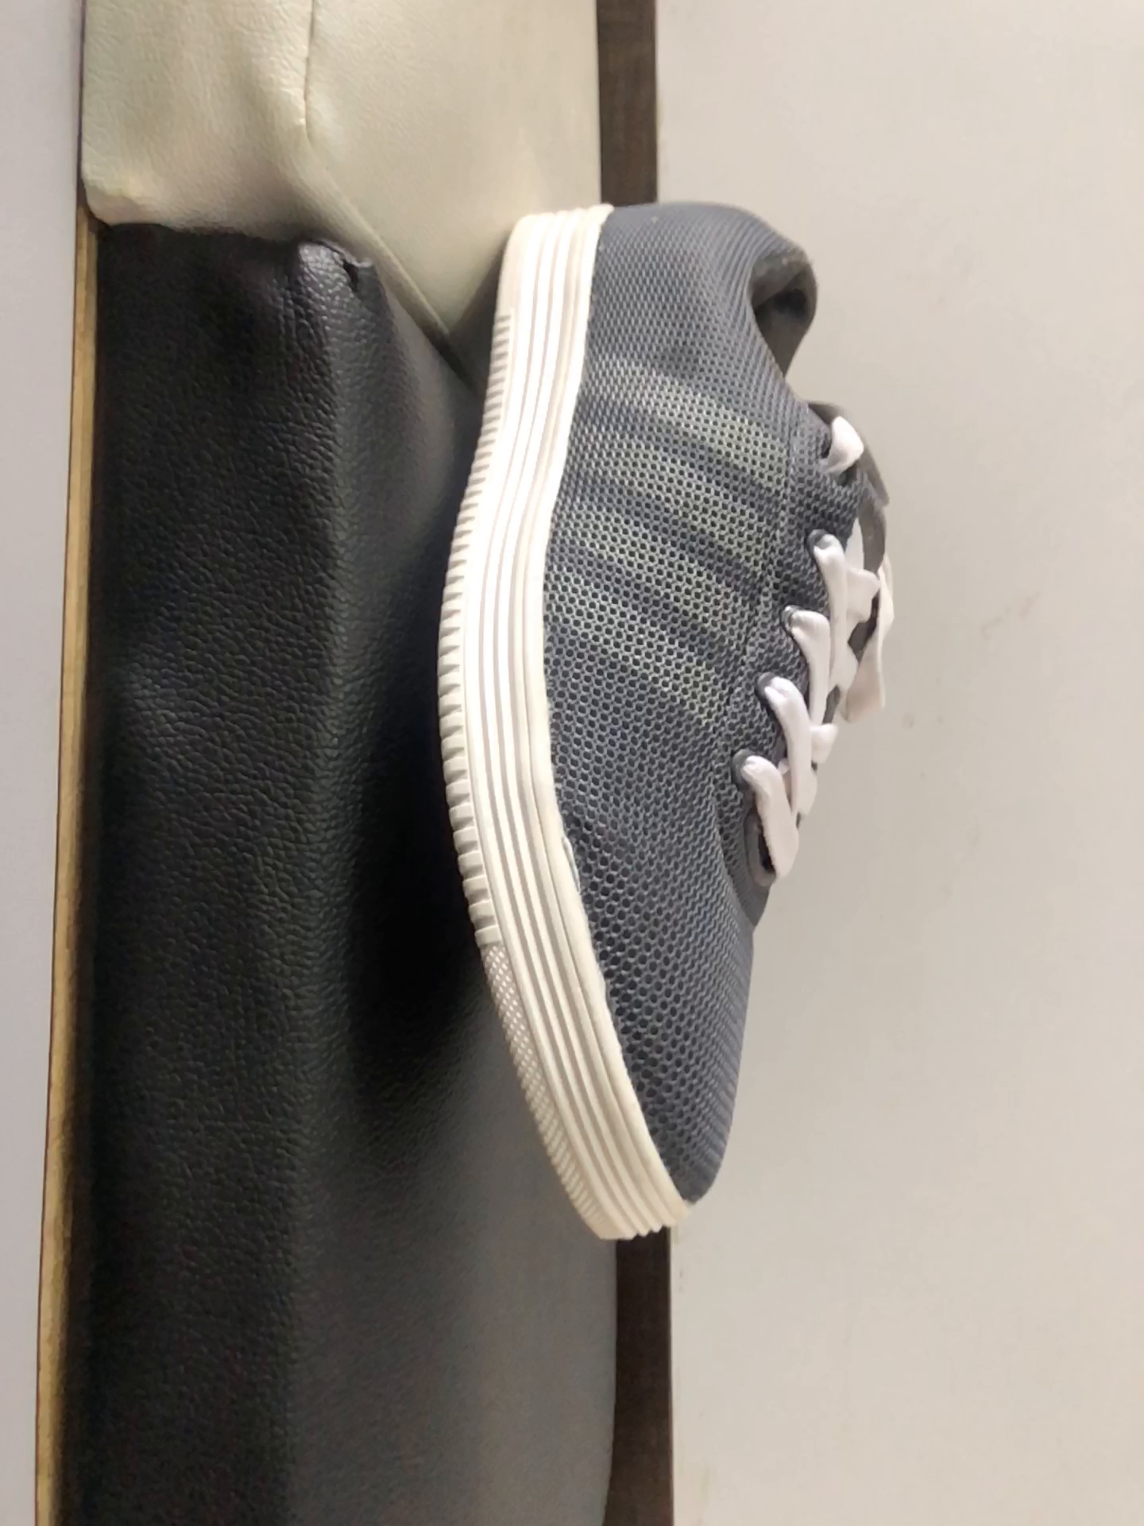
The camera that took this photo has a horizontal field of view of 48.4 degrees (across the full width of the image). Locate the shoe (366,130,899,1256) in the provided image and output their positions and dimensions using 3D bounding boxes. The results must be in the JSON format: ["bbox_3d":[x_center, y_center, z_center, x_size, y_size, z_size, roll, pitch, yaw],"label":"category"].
[{"bbox_3d":[0.029,-0.032,0.354,0.100,0.100,0.300,72,20,-58],"label":"shoe"}]
